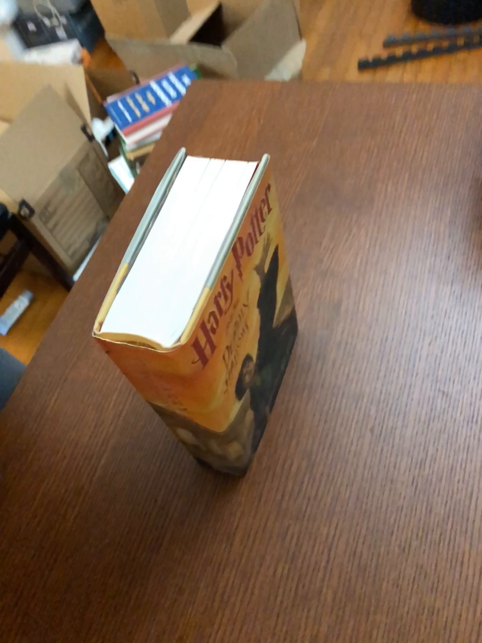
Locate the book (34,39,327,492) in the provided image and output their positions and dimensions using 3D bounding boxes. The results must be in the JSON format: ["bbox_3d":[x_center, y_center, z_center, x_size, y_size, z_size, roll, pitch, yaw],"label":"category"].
[{"bbox_3d":[-0.005,-0.017,0.422,0.070,0.299,0.211,12,62,20],"label":"book"}]
